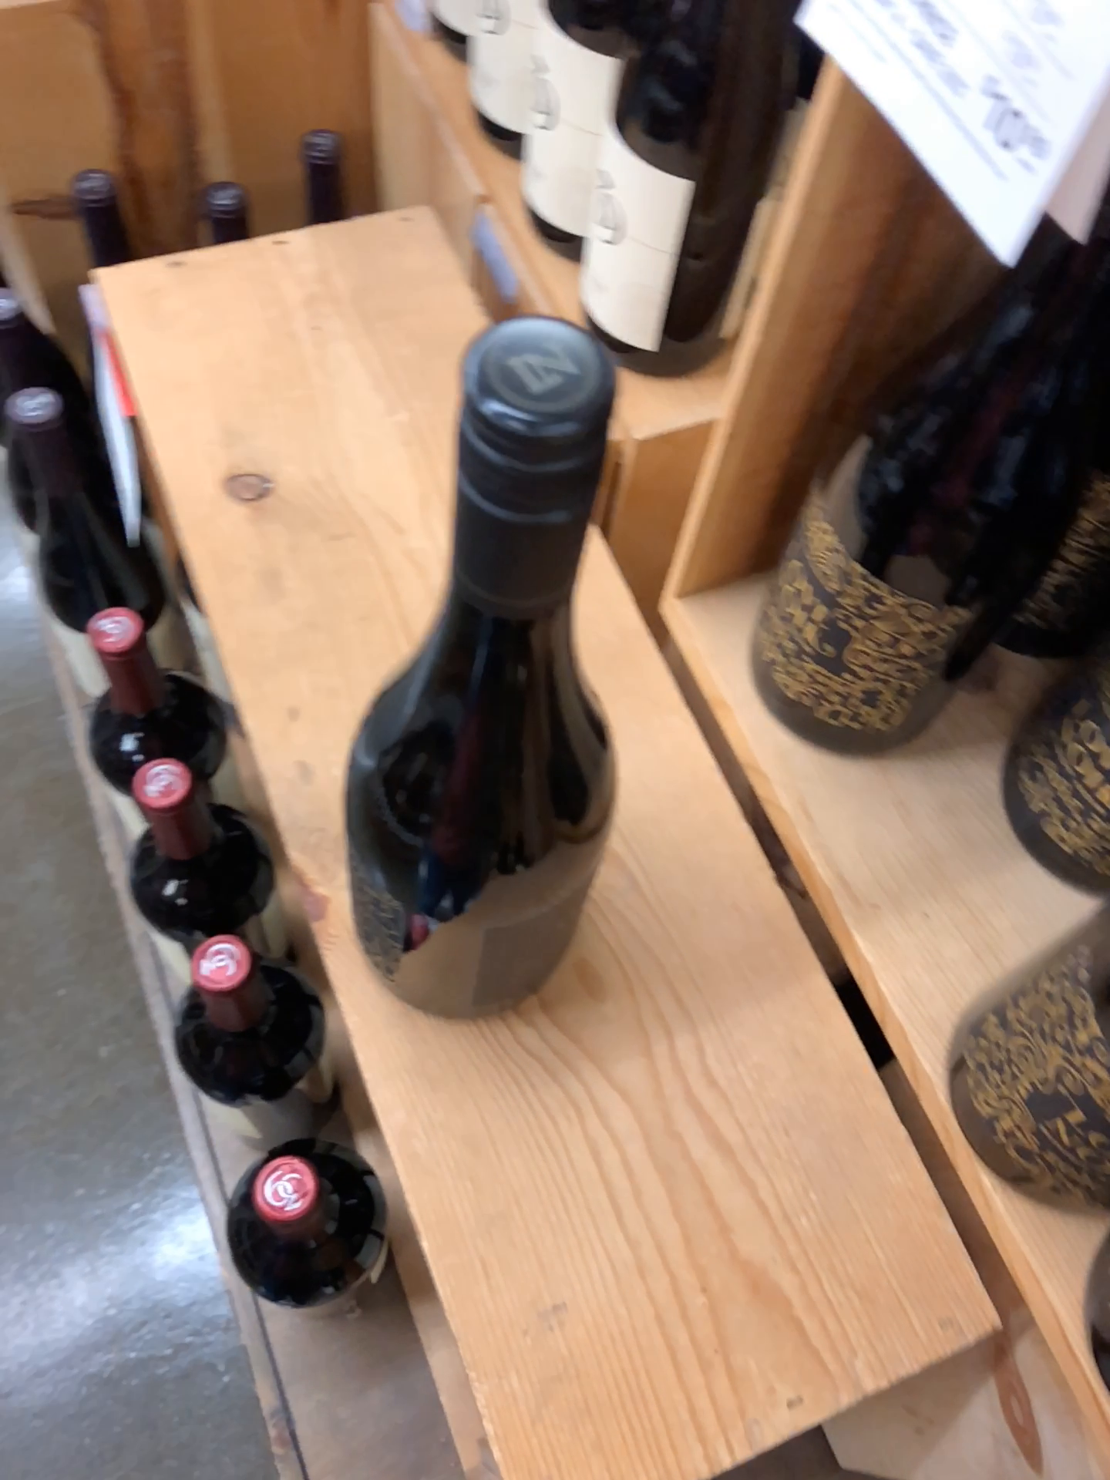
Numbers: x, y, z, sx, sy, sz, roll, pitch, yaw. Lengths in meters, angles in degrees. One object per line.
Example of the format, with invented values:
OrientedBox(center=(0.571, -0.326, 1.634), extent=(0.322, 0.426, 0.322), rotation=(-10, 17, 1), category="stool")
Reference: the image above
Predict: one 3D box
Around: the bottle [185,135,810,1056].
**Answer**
OrientedBox(center=(-0.019, -0.002, 0.344), extent=(0.085, 0.285, 0.090), rotation=(3, 62, -5), category="bottle")
